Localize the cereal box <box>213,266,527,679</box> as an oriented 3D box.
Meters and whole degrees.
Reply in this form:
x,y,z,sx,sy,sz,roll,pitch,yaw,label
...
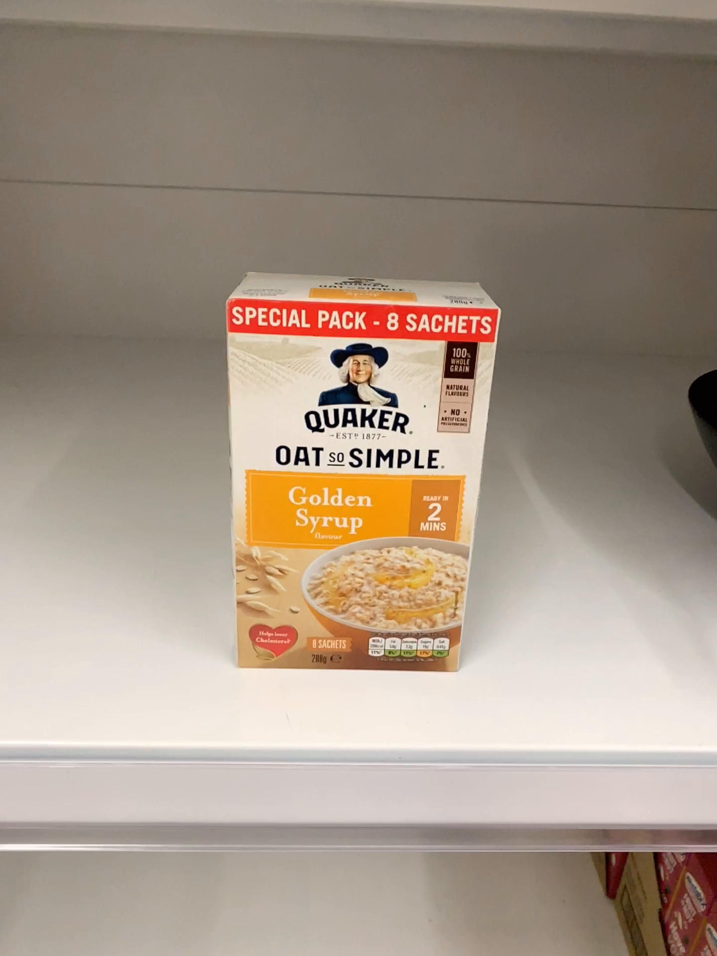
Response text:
x,y,z,sx,sy,sz,roll,pitch,yaw,label
0.000,0.000,0.400,0.140,0.209,0.070,1,23,-3,cereal box
